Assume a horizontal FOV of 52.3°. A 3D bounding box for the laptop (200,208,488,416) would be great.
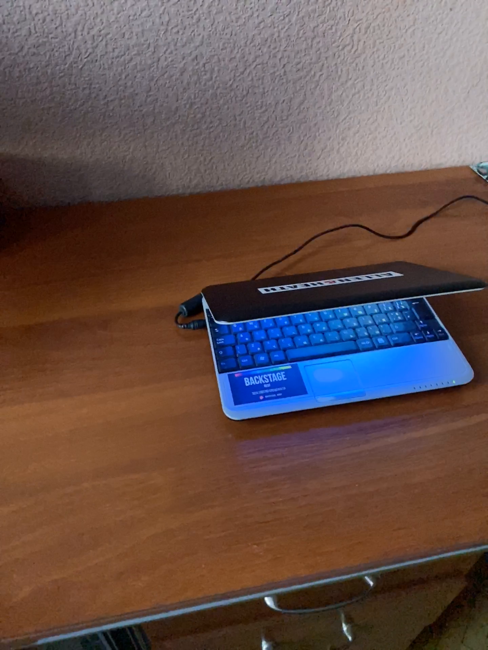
[{"bbox_3d":[0.097,-0.023,0.532,0.266,0.088,0.173,-7,47,-7],"label":"laptop"}]
